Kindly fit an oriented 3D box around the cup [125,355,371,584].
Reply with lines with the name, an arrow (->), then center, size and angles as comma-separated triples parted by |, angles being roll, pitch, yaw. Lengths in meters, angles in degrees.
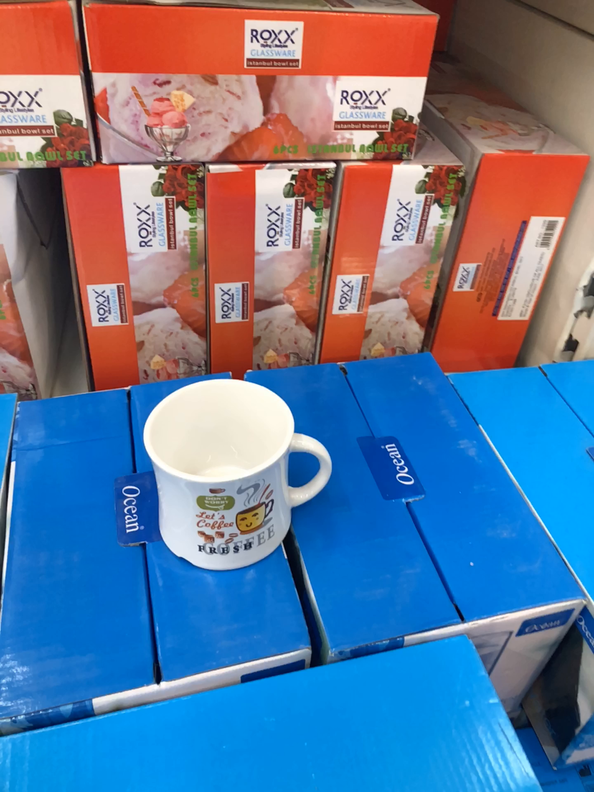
cup -> -0.028, 0.033, 0.320 | 0.100, 0.070, 0.070 | -6, 41, -14
